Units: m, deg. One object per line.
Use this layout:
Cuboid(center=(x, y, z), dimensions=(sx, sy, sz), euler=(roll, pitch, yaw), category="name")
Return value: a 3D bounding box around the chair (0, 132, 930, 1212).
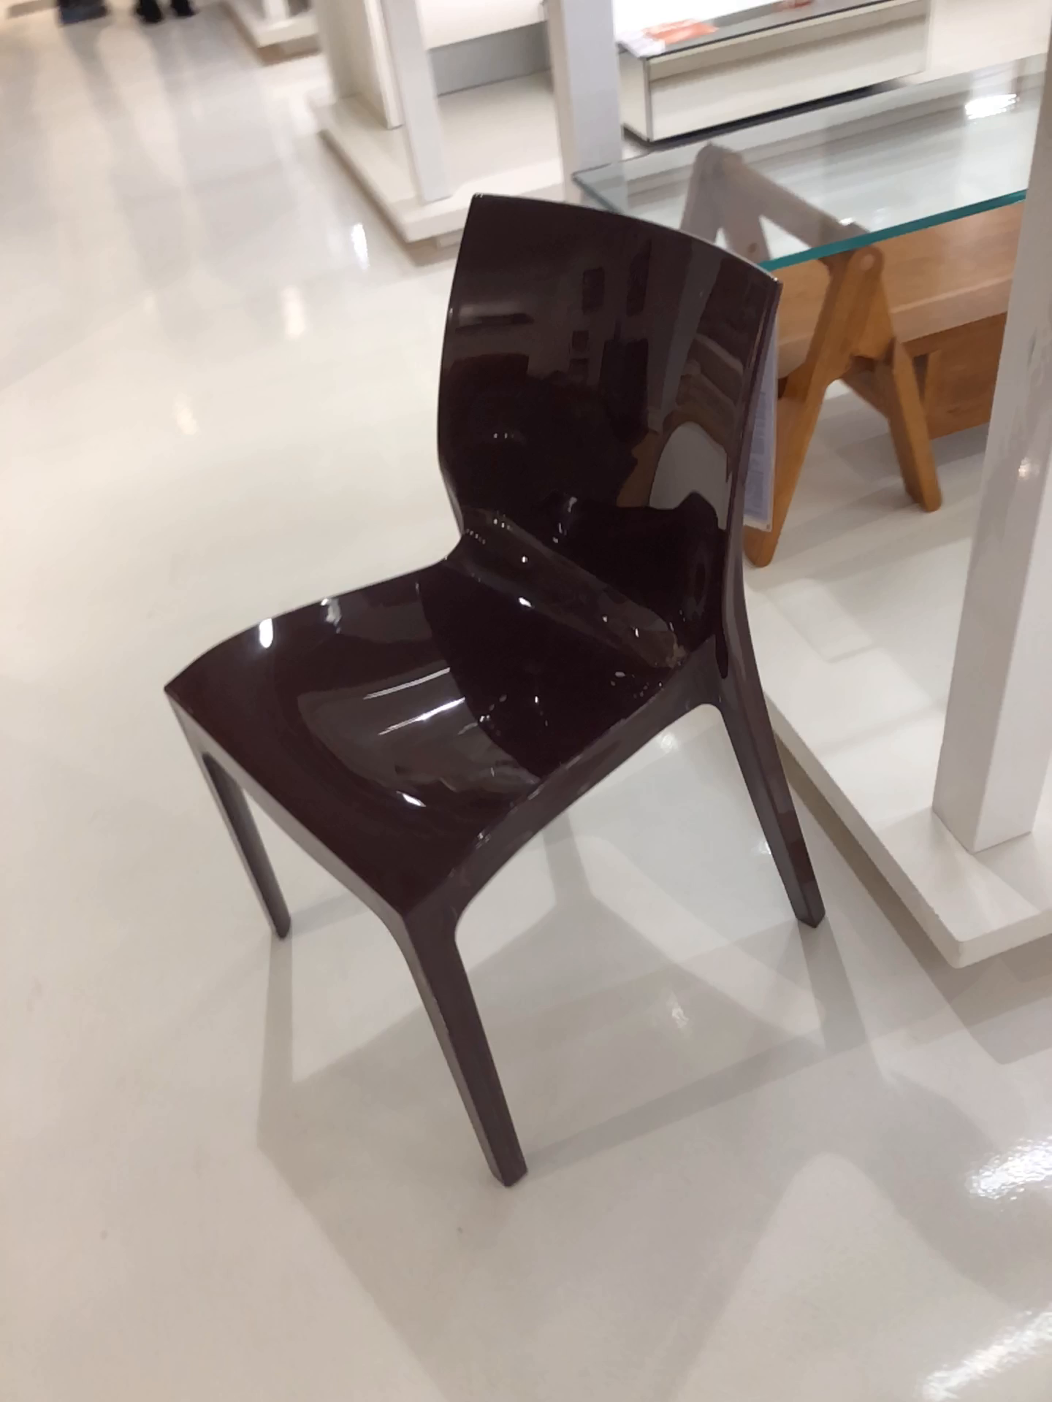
Cuboid(center=(-0.021, -0.034, 1.203), dimensions=(0.561, 0.814, 0.533), euler=(-35, 48, -25), category="chair")
